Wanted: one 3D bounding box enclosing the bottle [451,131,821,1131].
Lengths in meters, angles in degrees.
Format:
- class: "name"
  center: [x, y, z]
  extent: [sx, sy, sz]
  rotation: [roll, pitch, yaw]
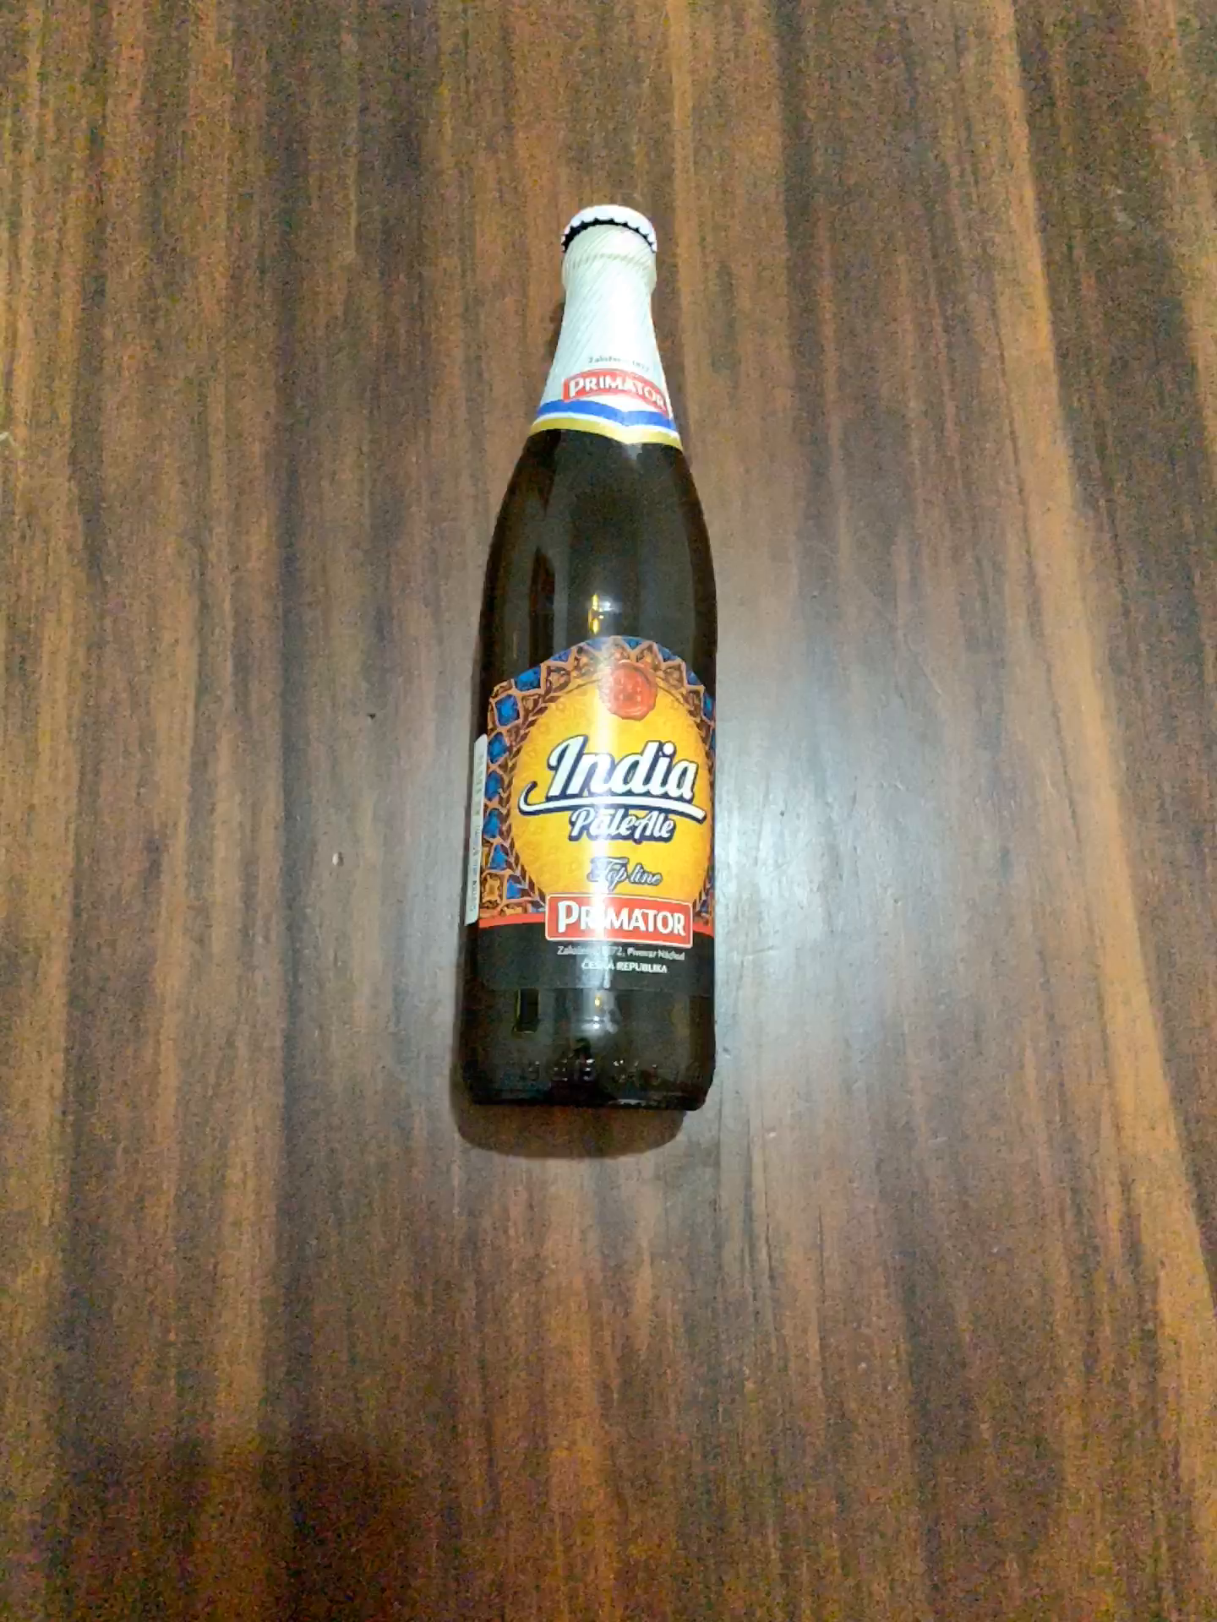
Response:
- class: "bottle"
  center: [0.005, -0.047, 0.343]
  extent: [0.080, 0.060, 0.260]
  rotation: [3, 76, -12]
